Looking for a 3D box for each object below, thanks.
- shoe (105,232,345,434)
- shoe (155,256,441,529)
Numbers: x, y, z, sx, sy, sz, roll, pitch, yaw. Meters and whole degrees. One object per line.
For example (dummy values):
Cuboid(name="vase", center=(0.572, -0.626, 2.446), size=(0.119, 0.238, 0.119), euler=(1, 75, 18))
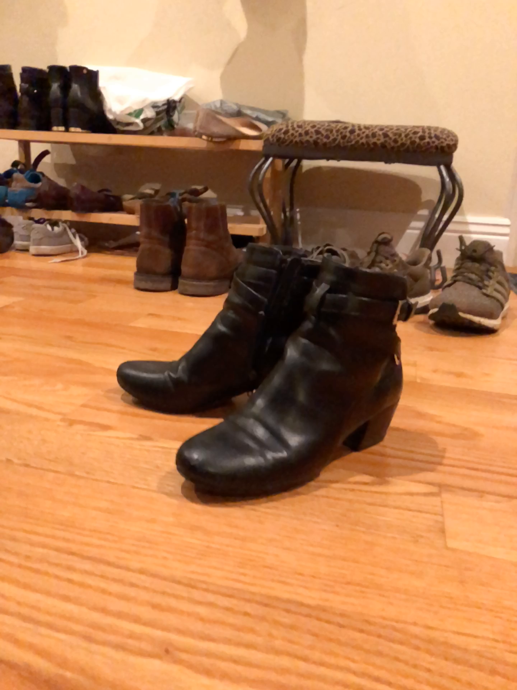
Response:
Cuboid(name="shoe", center=(-0.033, -0.020, 0.597), size=(0.226, 0.172, 0.090), euler=(6, 16, 10))
Cuboid(name="shoe", center=(0.035, 0.022, 0.482), size=(0.226, 0.172, 0.090), euler=(-9, 20, -36))
